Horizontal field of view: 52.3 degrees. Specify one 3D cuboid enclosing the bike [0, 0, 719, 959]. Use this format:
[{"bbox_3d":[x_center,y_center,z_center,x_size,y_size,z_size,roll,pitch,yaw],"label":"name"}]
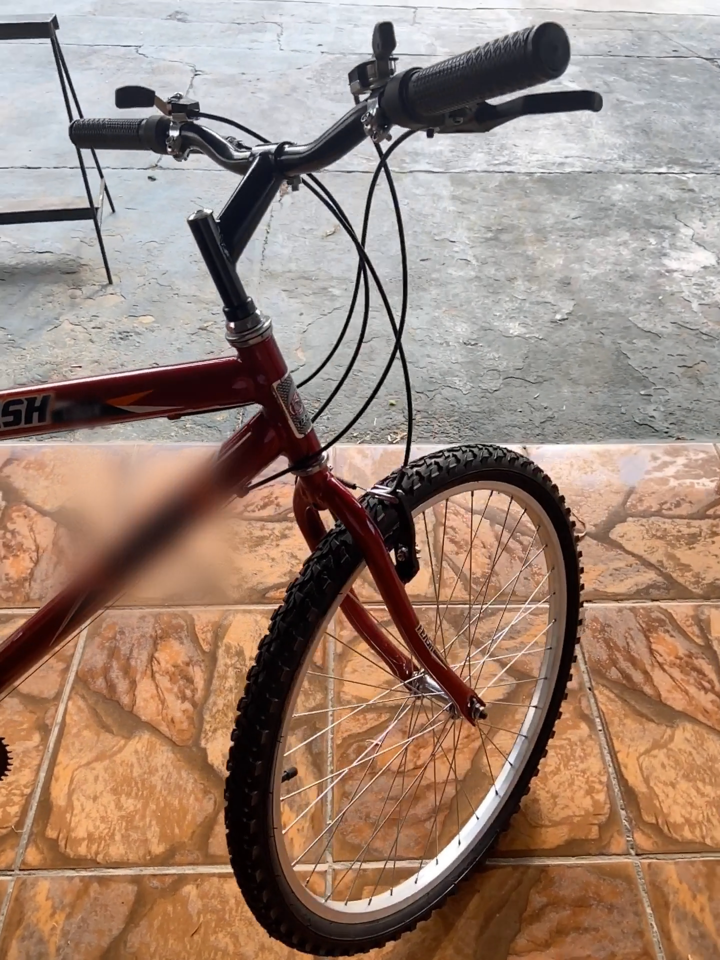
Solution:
[{"bbox_3d":[-0.450,0.021,0.922,1.557,0.985,0.602,-4,46,-7],"label":"bike"}]
